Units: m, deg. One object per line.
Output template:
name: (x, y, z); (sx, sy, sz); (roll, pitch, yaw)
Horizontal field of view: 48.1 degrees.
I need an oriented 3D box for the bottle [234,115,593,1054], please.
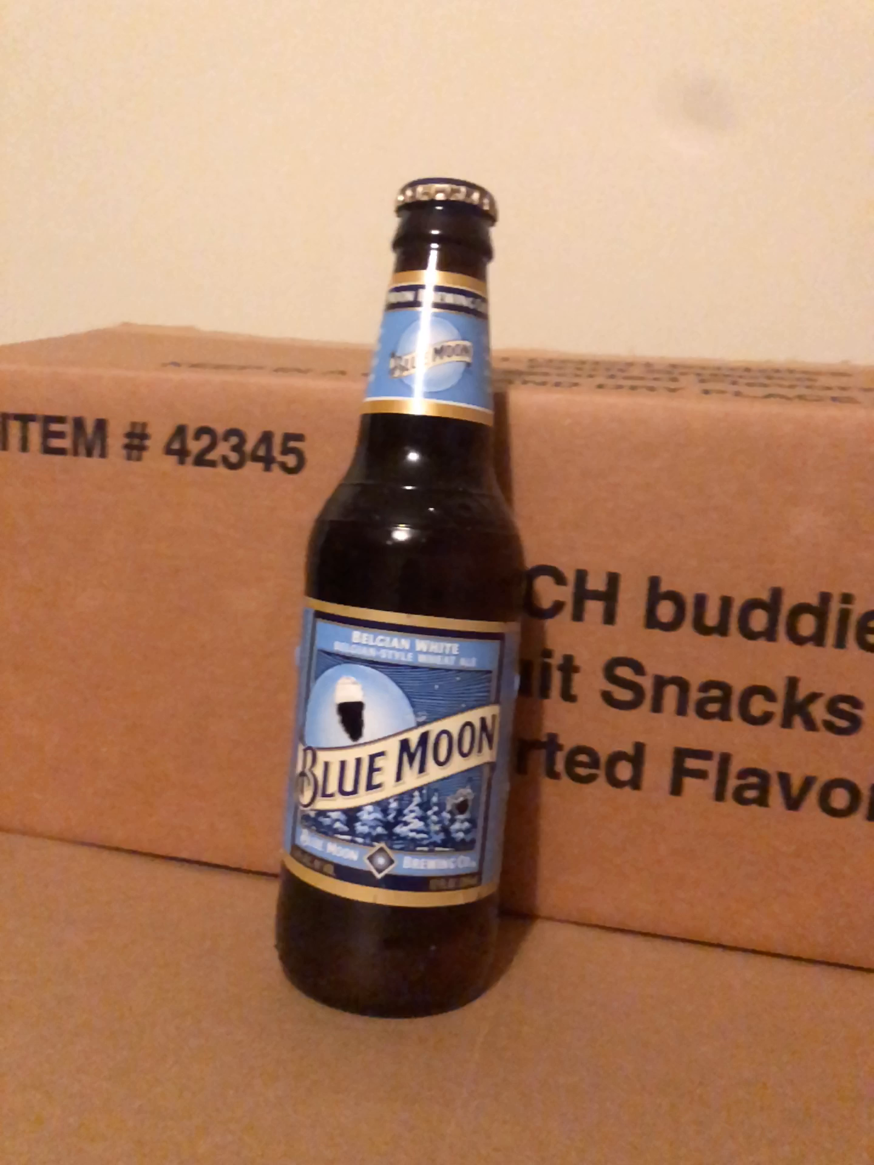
bottle: (-0.004, 0.000, 0.252); (0.070, 0.210, 0.060); (4, 6, 7)
